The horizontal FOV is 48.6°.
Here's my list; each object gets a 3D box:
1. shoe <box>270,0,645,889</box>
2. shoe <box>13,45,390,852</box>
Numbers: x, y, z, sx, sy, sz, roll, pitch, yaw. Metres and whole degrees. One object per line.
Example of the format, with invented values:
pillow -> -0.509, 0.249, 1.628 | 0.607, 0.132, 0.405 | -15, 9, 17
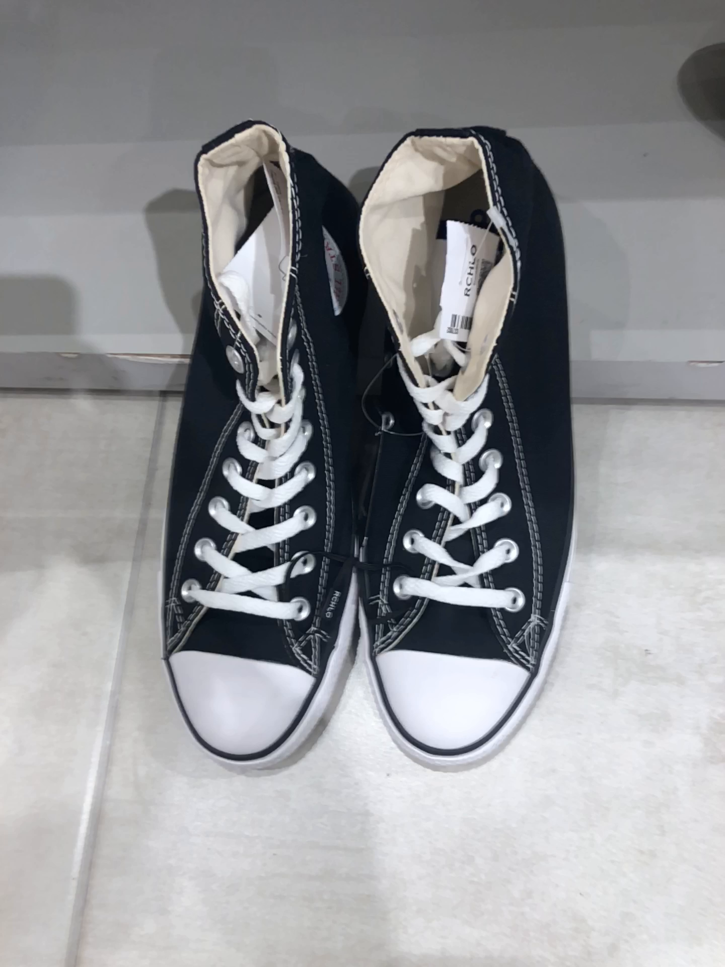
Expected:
shoe -> 0.039, -0.025, 0.358 | 0.120, 0.140, 0.330 | 3, 94, 7
shoe -> -0.066, -0.017, 0.386 | 0.120, 0.140, 0.310 | 5, 94, 8
